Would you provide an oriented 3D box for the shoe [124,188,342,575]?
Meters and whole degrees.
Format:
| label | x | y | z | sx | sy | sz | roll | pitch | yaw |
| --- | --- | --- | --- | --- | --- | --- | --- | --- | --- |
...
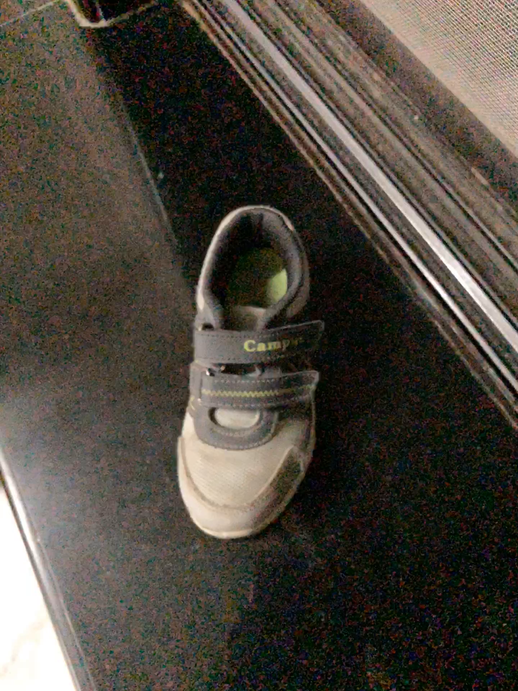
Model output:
| label | x | y | z | sx | sy | sz | roll | pitch | yaw |
| --- | --- | --- | --- | --- | --- | --- | --- | --- | --- |
| shoe | -0.005 | 0.019 | 0.357 | 0.090 | 0.080 | 0.231 | 7 | 69 | 8 |
